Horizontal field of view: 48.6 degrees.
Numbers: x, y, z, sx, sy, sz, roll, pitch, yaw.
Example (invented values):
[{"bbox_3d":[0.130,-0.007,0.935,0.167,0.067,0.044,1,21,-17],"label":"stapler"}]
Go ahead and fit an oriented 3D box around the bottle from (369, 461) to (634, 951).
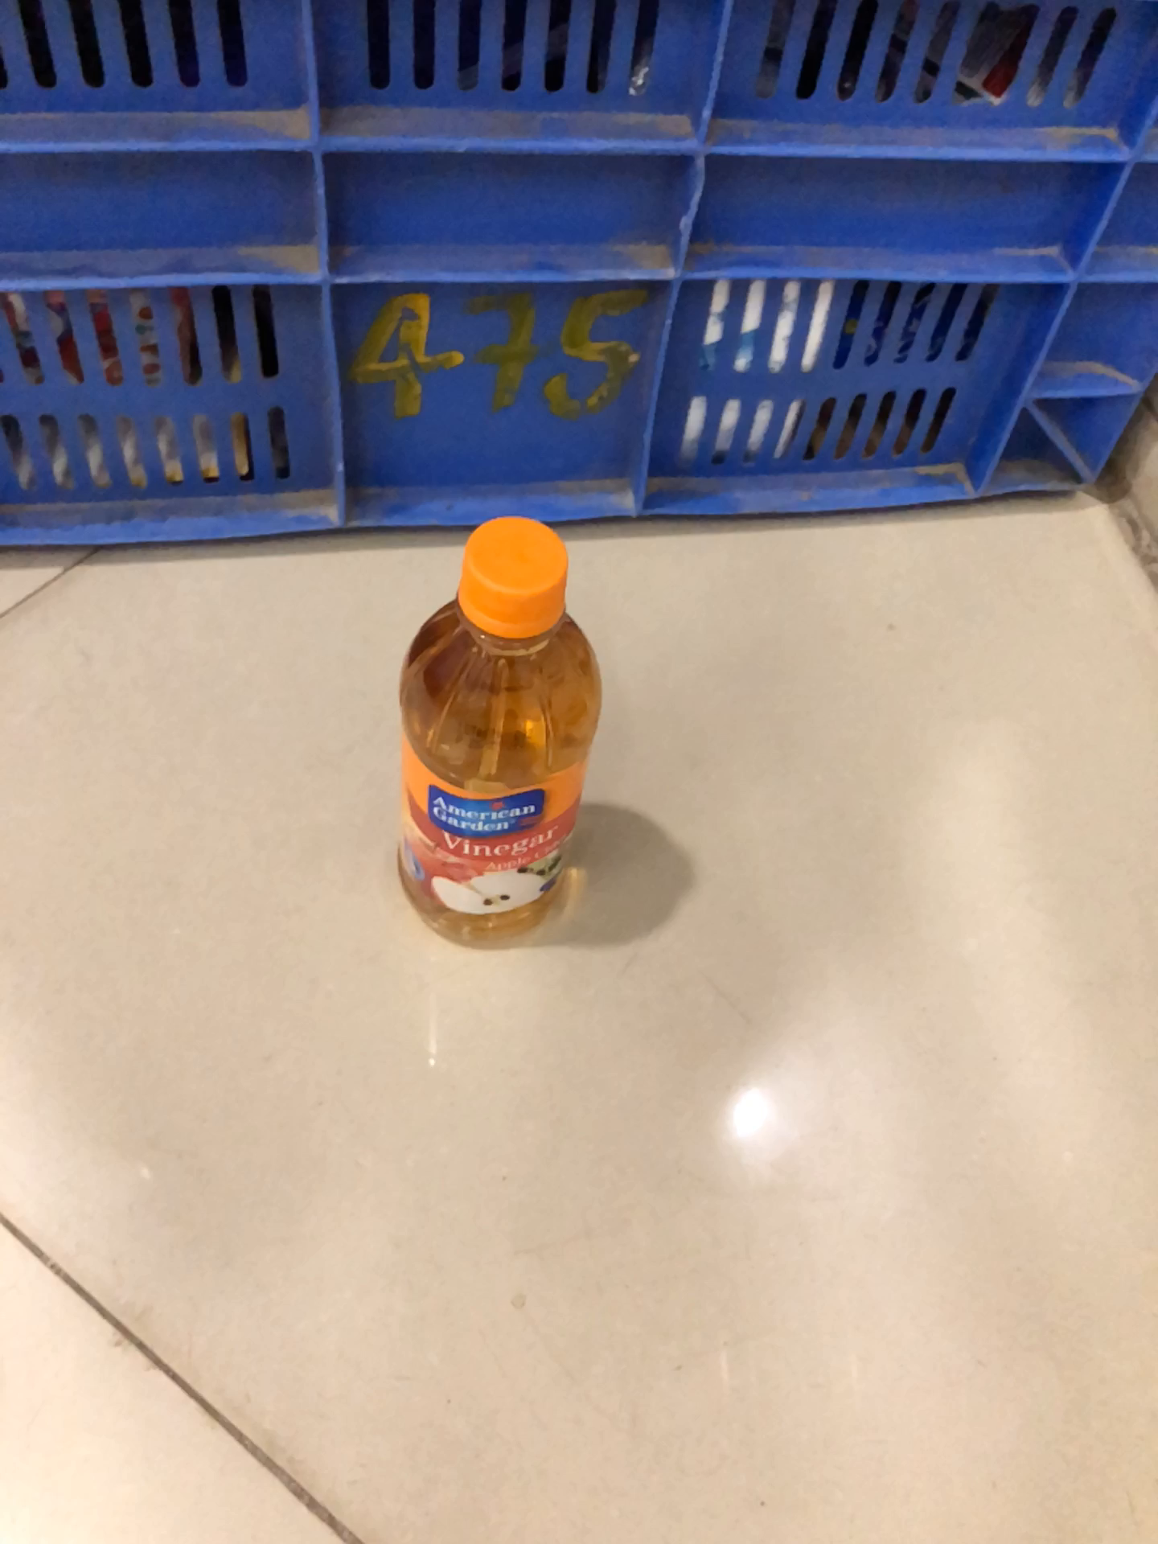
[{"bbox_3d":[-0.028,-0.012,0.428,0.070,0.169,0.070,3,55,-5],"label":"bottle"}]
